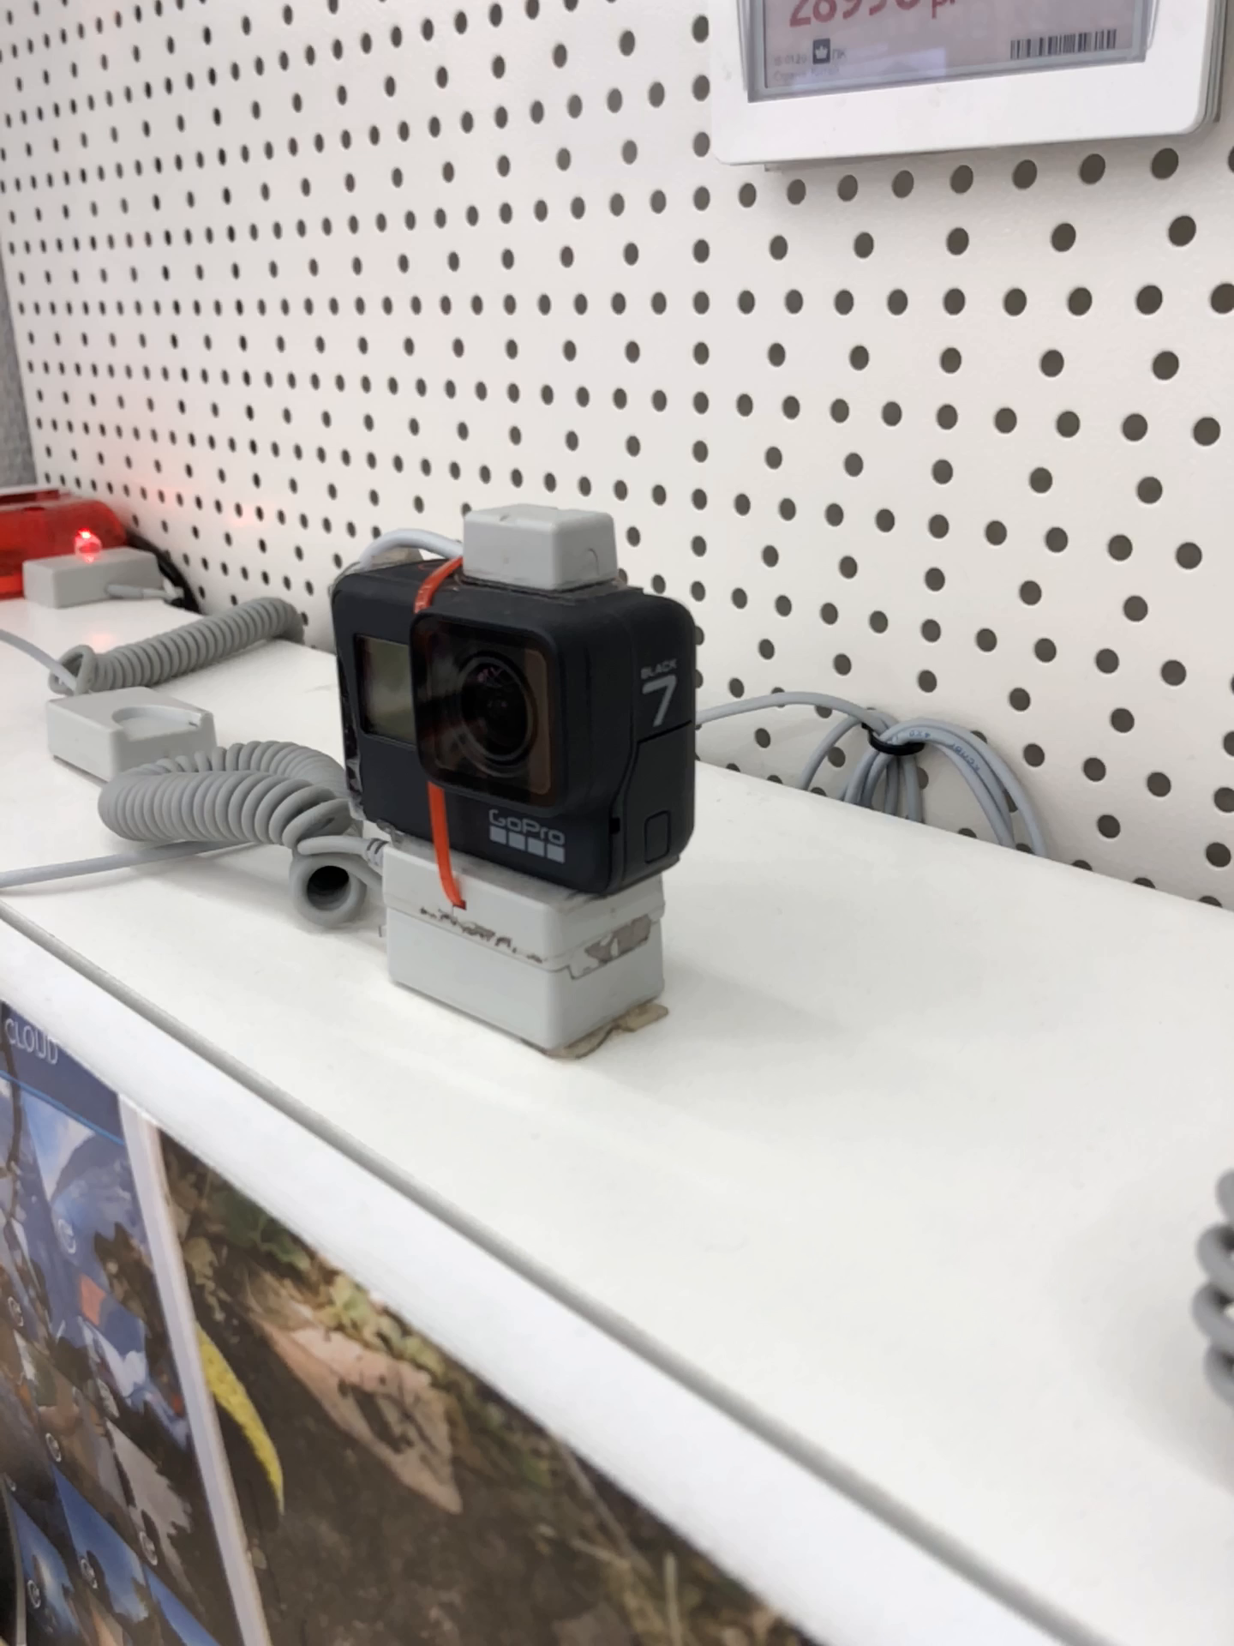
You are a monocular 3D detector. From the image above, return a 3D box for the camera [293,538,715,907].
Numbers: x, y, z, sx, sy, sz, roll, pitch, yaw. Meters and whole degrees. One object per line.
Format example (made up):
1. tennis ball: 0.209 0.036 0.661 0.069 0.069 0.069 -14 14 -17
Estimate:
1. camera: -0.019 -0.020 0.224 0.067 0.044 0.029 17 26 39
